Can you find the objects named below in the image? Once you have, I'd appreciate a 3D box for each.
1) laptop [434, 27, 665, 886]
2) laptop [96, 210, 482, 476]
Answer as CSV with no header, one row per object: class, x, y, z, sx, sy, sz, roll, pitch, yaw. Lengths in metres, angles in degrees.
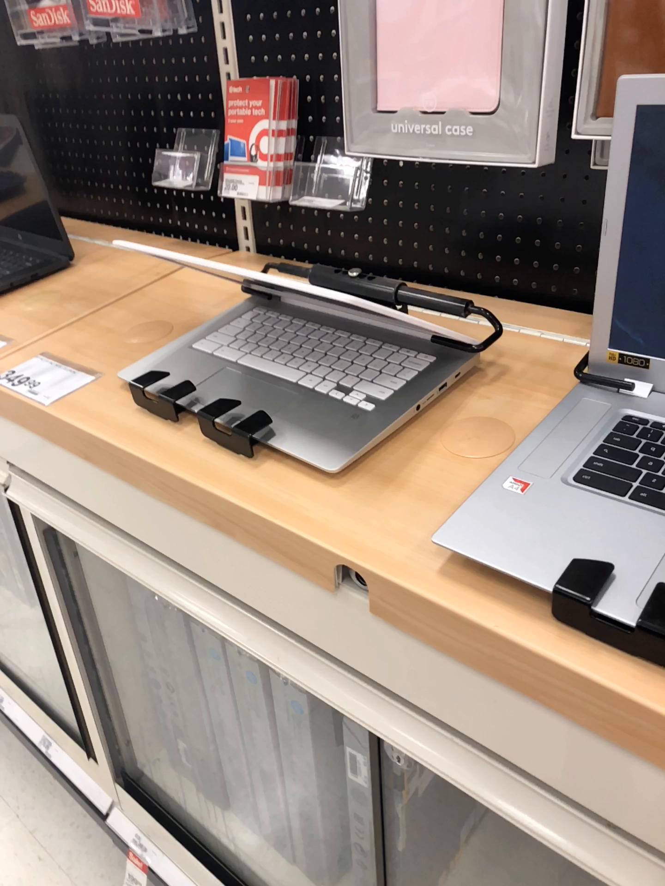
laptop,0.292,-0.055,0.407,0.389,0.244,0.273,19,40,36
laptop,-0.052,-0.126,0.732,0.331,0.100,0.215,22,47,38
